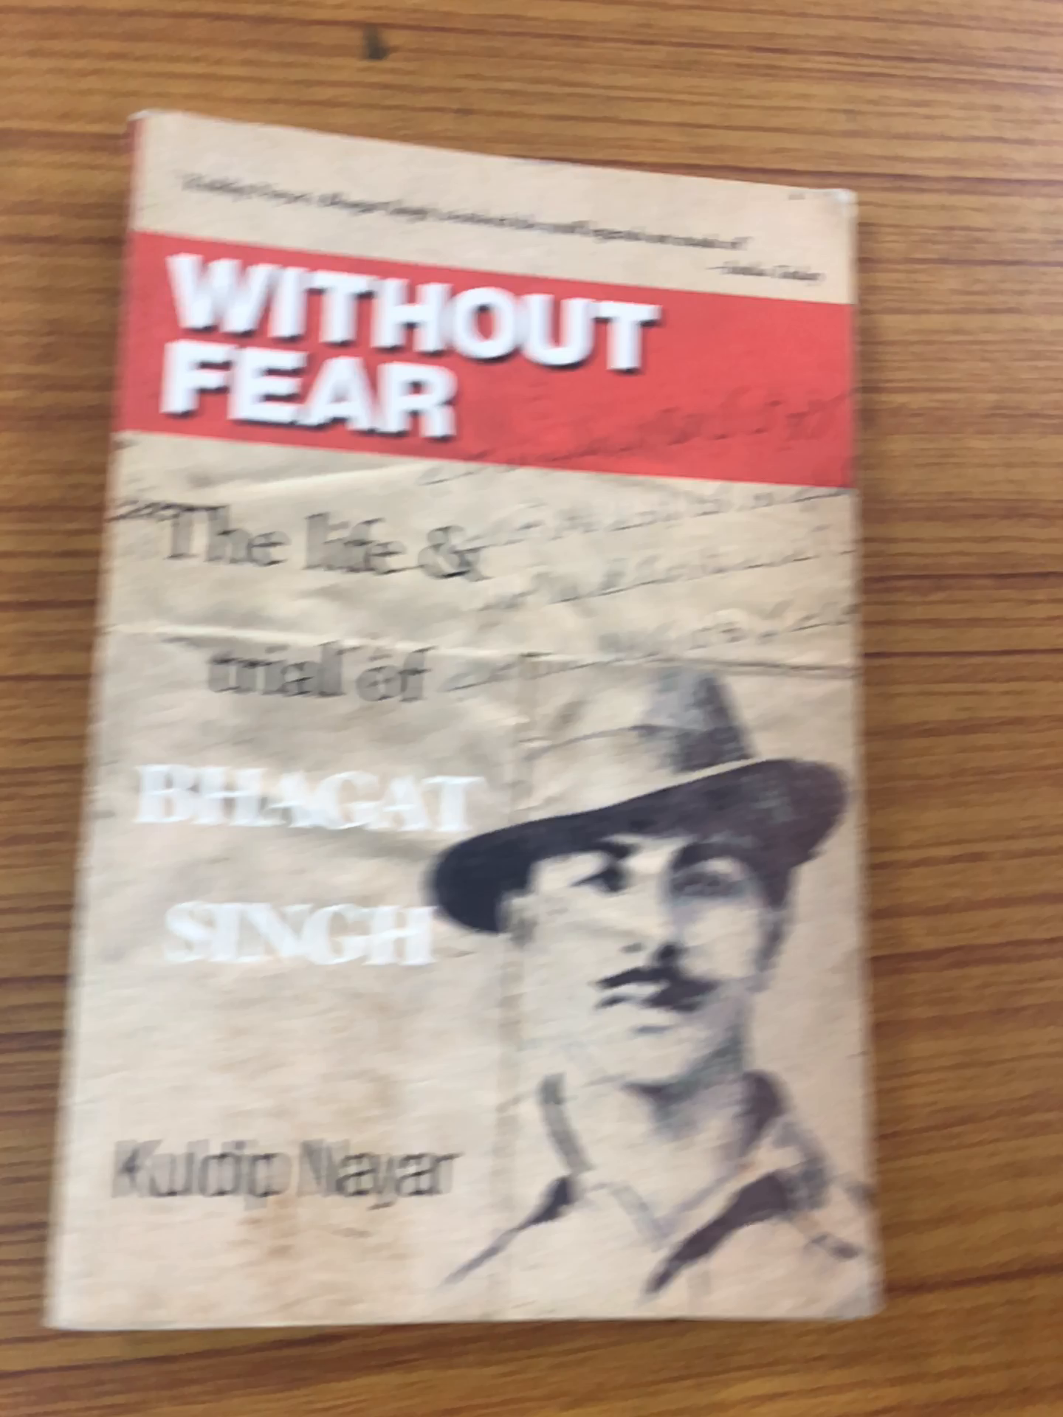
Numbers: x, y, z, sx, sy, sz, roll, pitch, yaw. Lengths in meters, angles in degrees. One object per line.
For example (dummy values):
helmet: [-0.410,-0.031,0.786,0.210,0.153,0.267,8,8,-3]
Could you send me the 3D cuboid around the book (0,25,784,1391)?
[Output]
book: [-0.029,-0.003,0.206,0.140,0.030,0.210,3,83,-8]
